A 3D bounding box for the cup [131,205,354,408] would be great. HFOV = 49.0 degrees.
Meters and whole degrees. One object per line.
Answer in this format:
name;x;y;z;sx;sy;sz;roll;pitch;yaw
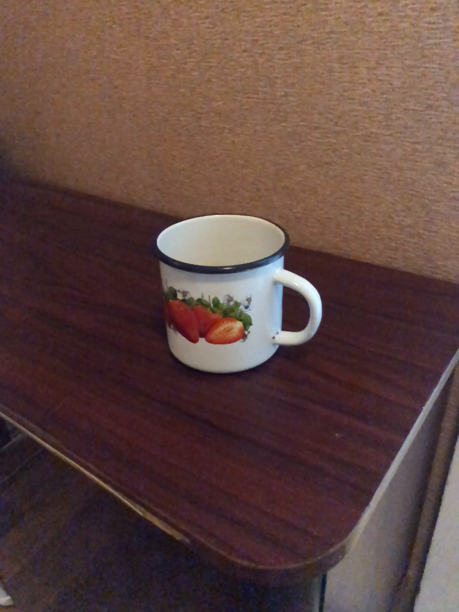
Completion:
cup;0.014;-0.010;0.466;0.156;0.113;0.119;16;33;29
